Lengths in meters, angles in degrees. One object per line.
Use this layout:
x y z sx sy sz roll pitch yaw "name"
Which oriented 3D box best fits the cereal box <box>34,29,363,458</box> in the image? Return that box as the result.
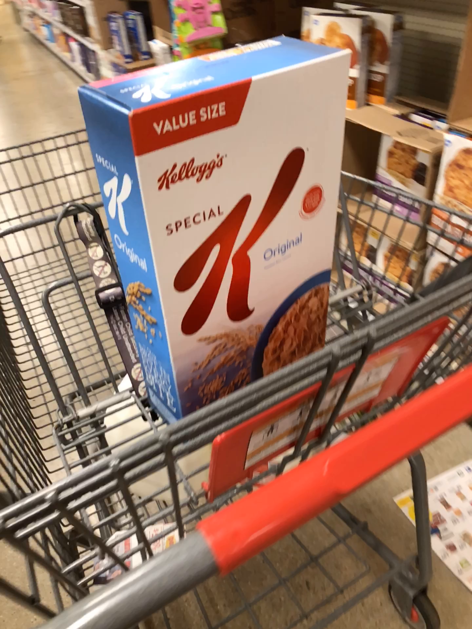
-0.009 -0.052 0.480 0.230 0.329 0.080 -26 44 -24 "cereal box"
